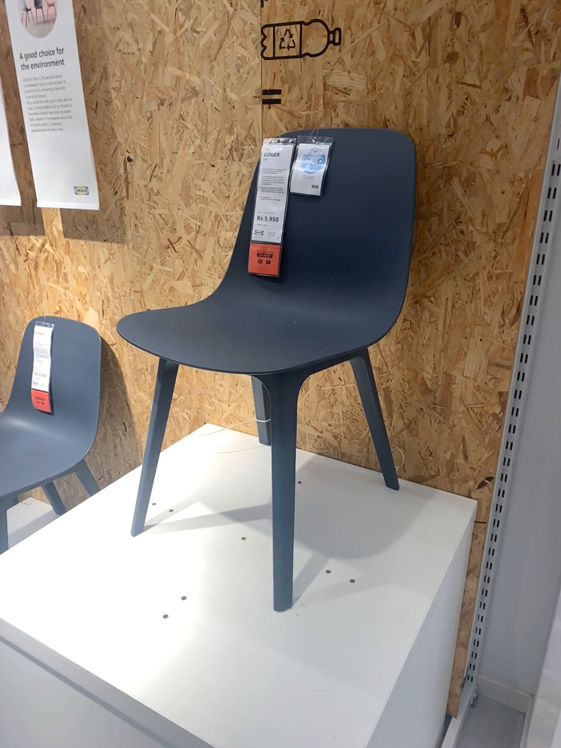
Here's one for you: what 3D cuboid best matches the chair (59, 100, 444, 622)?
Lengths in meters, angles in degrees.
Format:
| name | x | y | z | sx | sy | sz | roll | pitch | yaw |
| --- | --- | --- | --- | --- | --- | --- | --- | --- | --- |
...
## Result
| name | x | y | z | sx | sy | sz | roll | pitch | yaw |
| --- | --- | --- | --- | --- | --- | --- | --- | --- | --- |
| chair | -0.023 | -0.076 | 1.095 | 0.431 | 0.767 | 0.501 | 14 | 25 | 32 |
